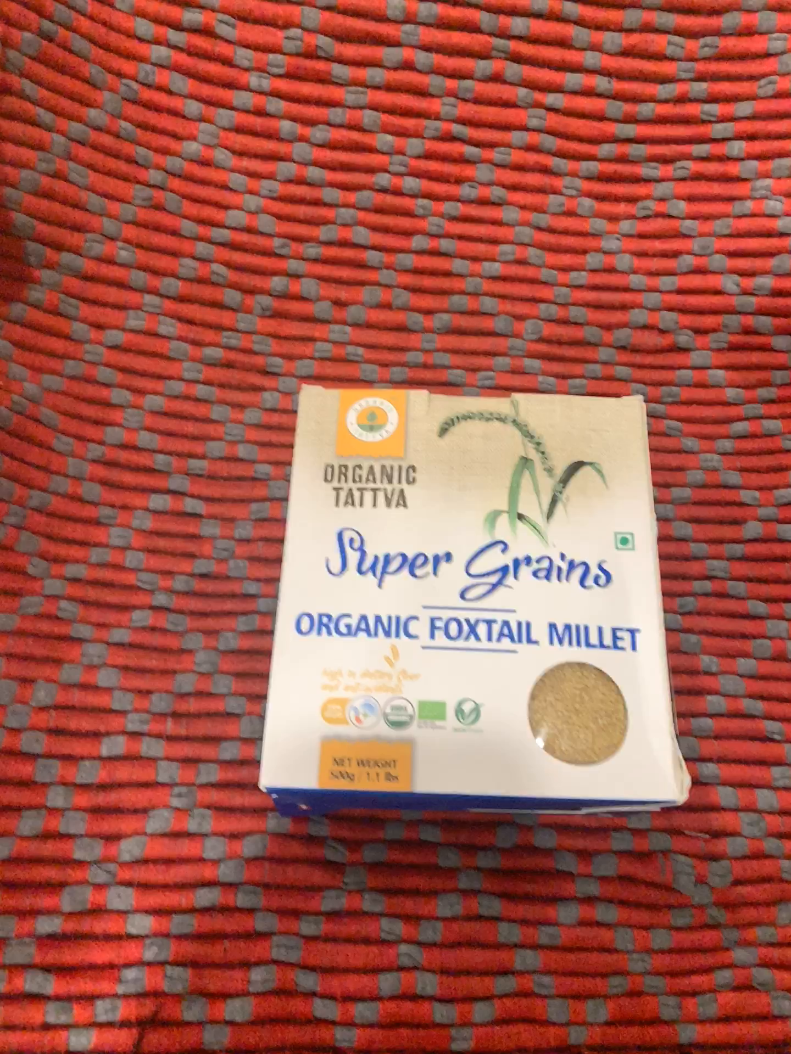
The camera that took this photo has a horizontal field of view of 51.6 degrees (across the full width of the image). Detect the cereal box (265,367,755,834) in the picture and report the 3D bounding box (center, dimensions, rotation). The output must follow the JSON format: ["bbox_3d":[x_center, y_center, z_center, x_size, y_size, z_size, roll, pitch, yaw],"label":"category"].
[{"bbox_3d":[0.035,0.025,0.291,0.140,0.060,0.150,2,67,1],"label":"cereal box"}]
